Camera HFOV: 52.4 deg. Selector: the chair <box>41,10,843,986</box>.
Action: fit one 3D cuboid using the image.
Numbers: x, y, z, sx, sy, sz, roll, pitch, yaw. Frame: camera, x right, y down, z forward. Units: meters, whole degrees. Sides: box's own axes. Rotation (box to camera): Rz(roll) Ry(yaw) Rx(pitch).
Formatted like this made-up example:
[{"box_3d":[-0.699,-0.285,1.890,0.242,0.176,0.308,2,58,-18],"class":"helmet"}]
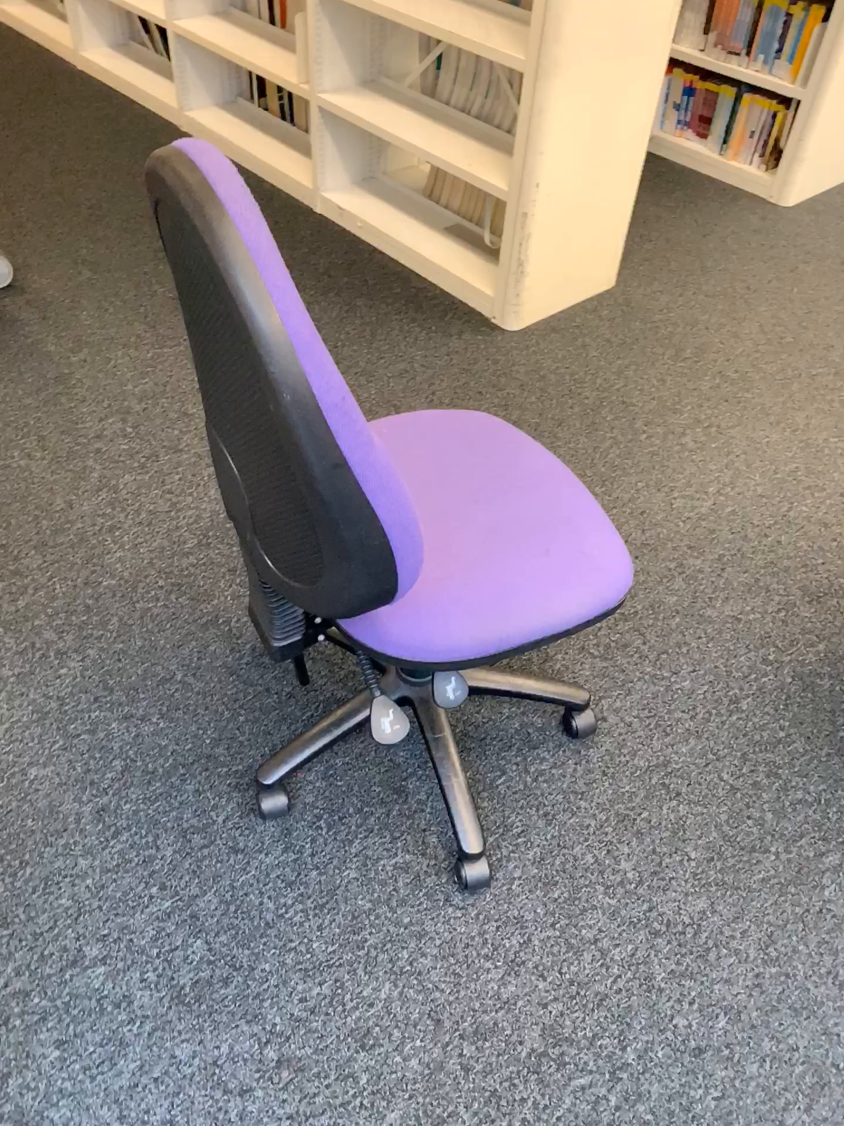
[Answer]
[{"box_3d":[0.012,-0.070,1.164,0.636,0.984,0.673,-19,50,-22],"class":"chair"}]
